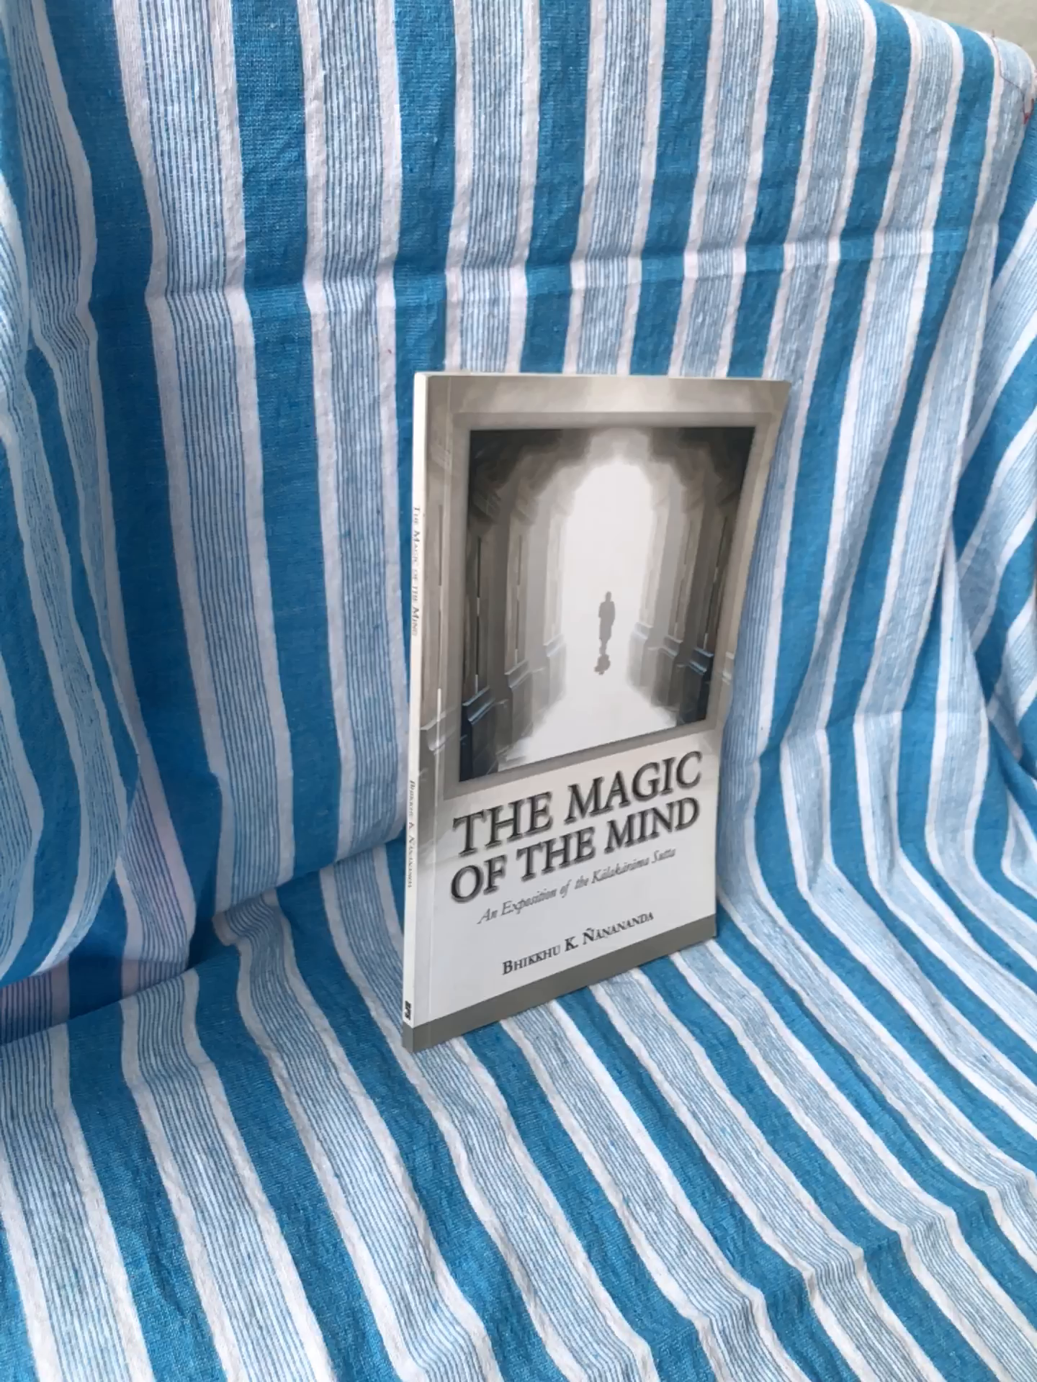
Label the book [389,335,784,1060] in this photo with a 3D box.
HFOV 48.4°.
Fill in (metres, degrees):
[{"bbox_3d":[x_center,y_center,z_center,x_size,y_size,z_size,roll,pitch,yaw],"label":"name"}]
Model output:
[{"bbox_3d":[0.025,-0.001,0.384,0.151,0.219,0.010,-10,20,-36],"label":"book"}]
